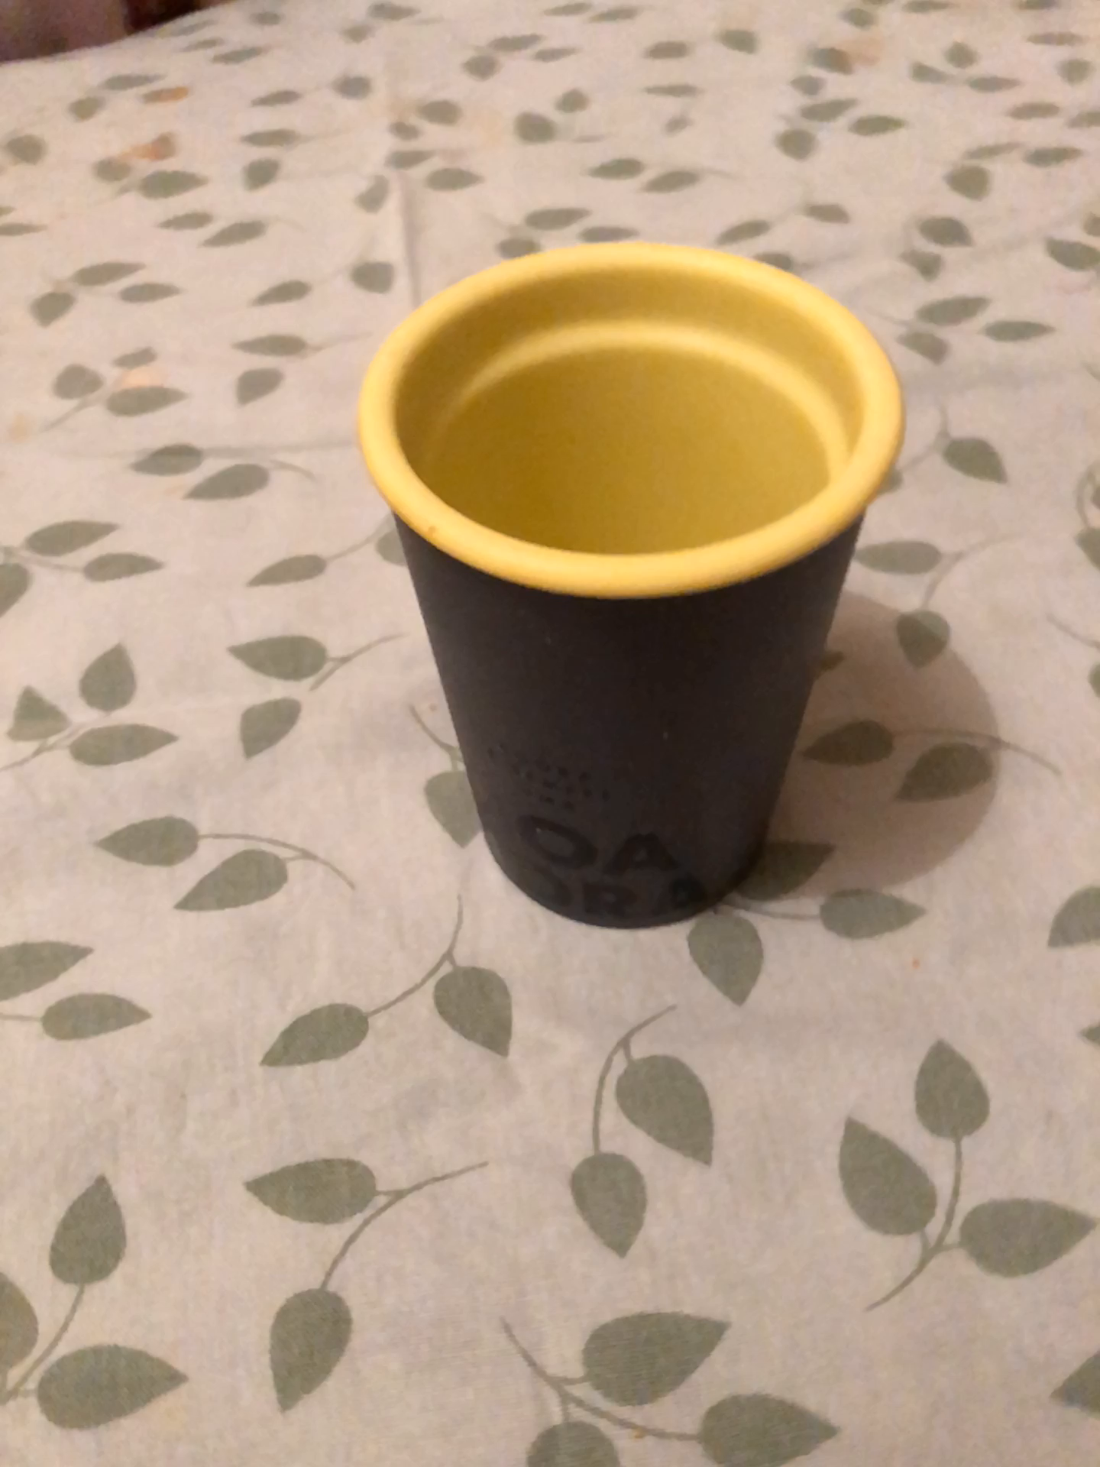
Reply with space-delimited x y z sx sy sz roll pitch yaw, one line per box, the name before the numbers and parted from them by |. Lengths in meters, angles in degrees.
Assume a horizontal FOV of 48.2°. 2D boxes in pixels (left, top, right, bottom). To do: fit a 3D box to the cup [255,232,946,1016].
cup | 0.013 -0.017 0.230 0.090 0.109 0.091 -1 52 2
